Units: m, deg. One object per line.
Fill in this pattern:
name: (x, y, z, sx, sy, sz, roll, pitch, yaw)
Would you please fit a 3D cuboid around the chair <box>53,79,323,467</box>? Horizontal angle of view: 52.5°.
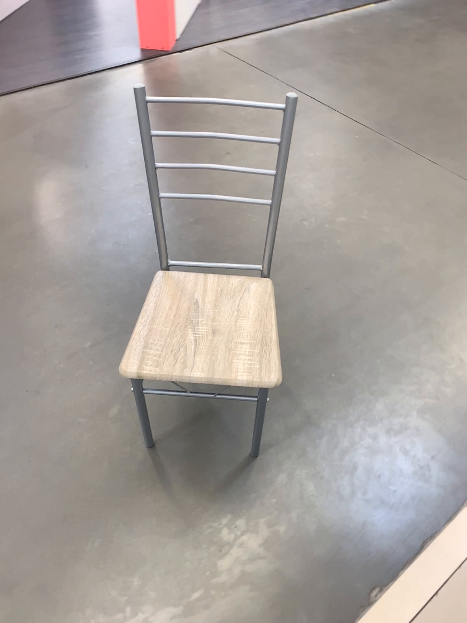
chair: (-0.061, -0.038, 1.181, 0.410, 0.837, 0.472, 5, 48, 2)
